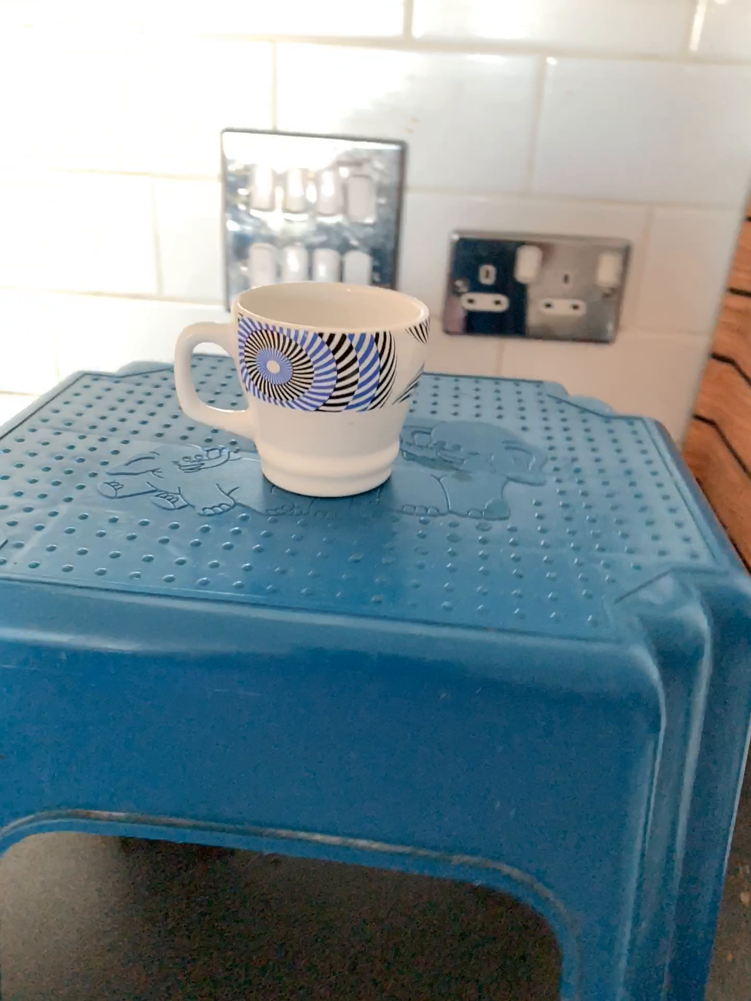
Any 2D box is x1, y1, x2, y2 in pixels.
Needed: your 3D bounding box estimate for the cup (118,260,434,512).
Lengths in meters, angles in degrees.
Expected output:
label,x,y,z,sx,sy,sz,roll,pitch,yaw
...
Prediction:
label,x,y,z,sx,sy,sz,roll,pitch,yaw
cup,-0.028,-0.044,0.269,0.085,0.055,0.079,3,28,-1
